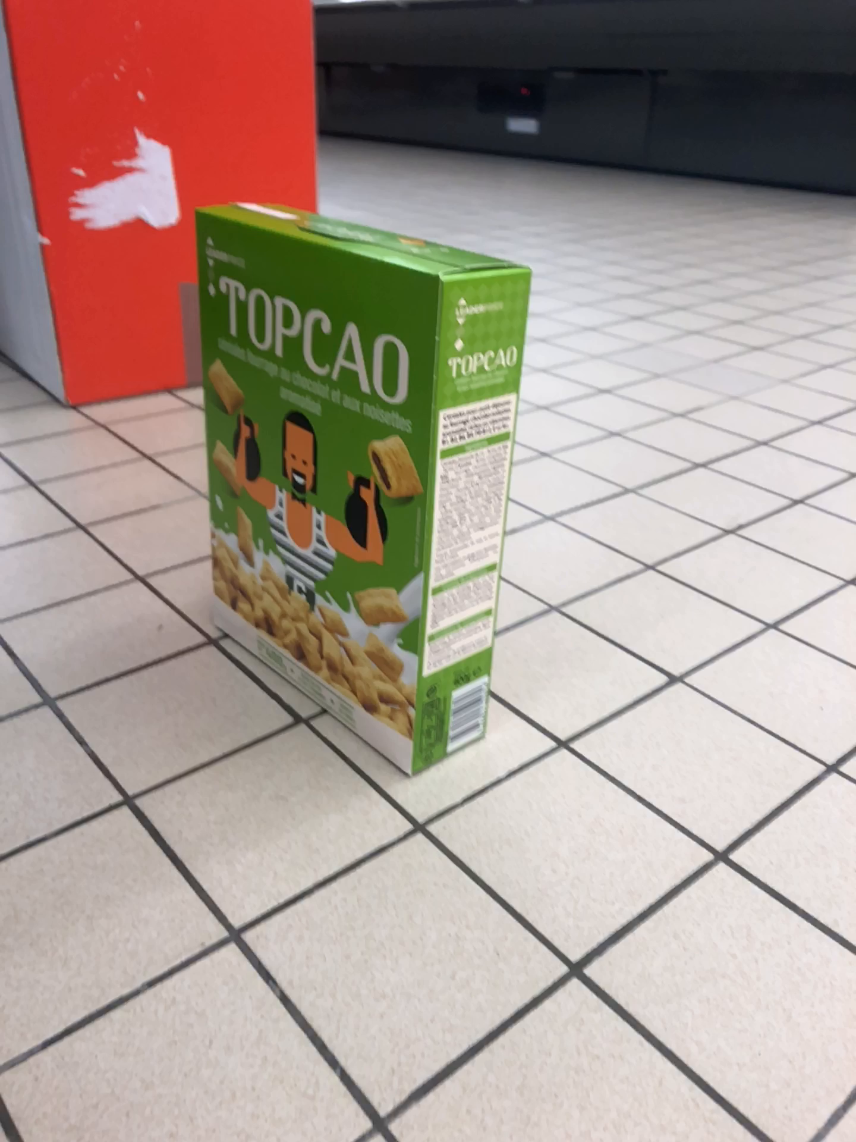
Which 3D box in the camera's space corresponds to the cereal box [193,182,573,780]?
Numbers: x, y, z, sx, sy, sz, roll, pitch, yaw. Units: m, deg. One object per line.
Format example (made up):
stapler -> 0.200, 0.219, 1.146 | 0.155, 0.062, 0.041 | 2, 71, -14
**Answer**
cereal box -> -0.040, -0.055, 0.490 | 0.060, 0.249, 0.200 | -19, 36, -39
